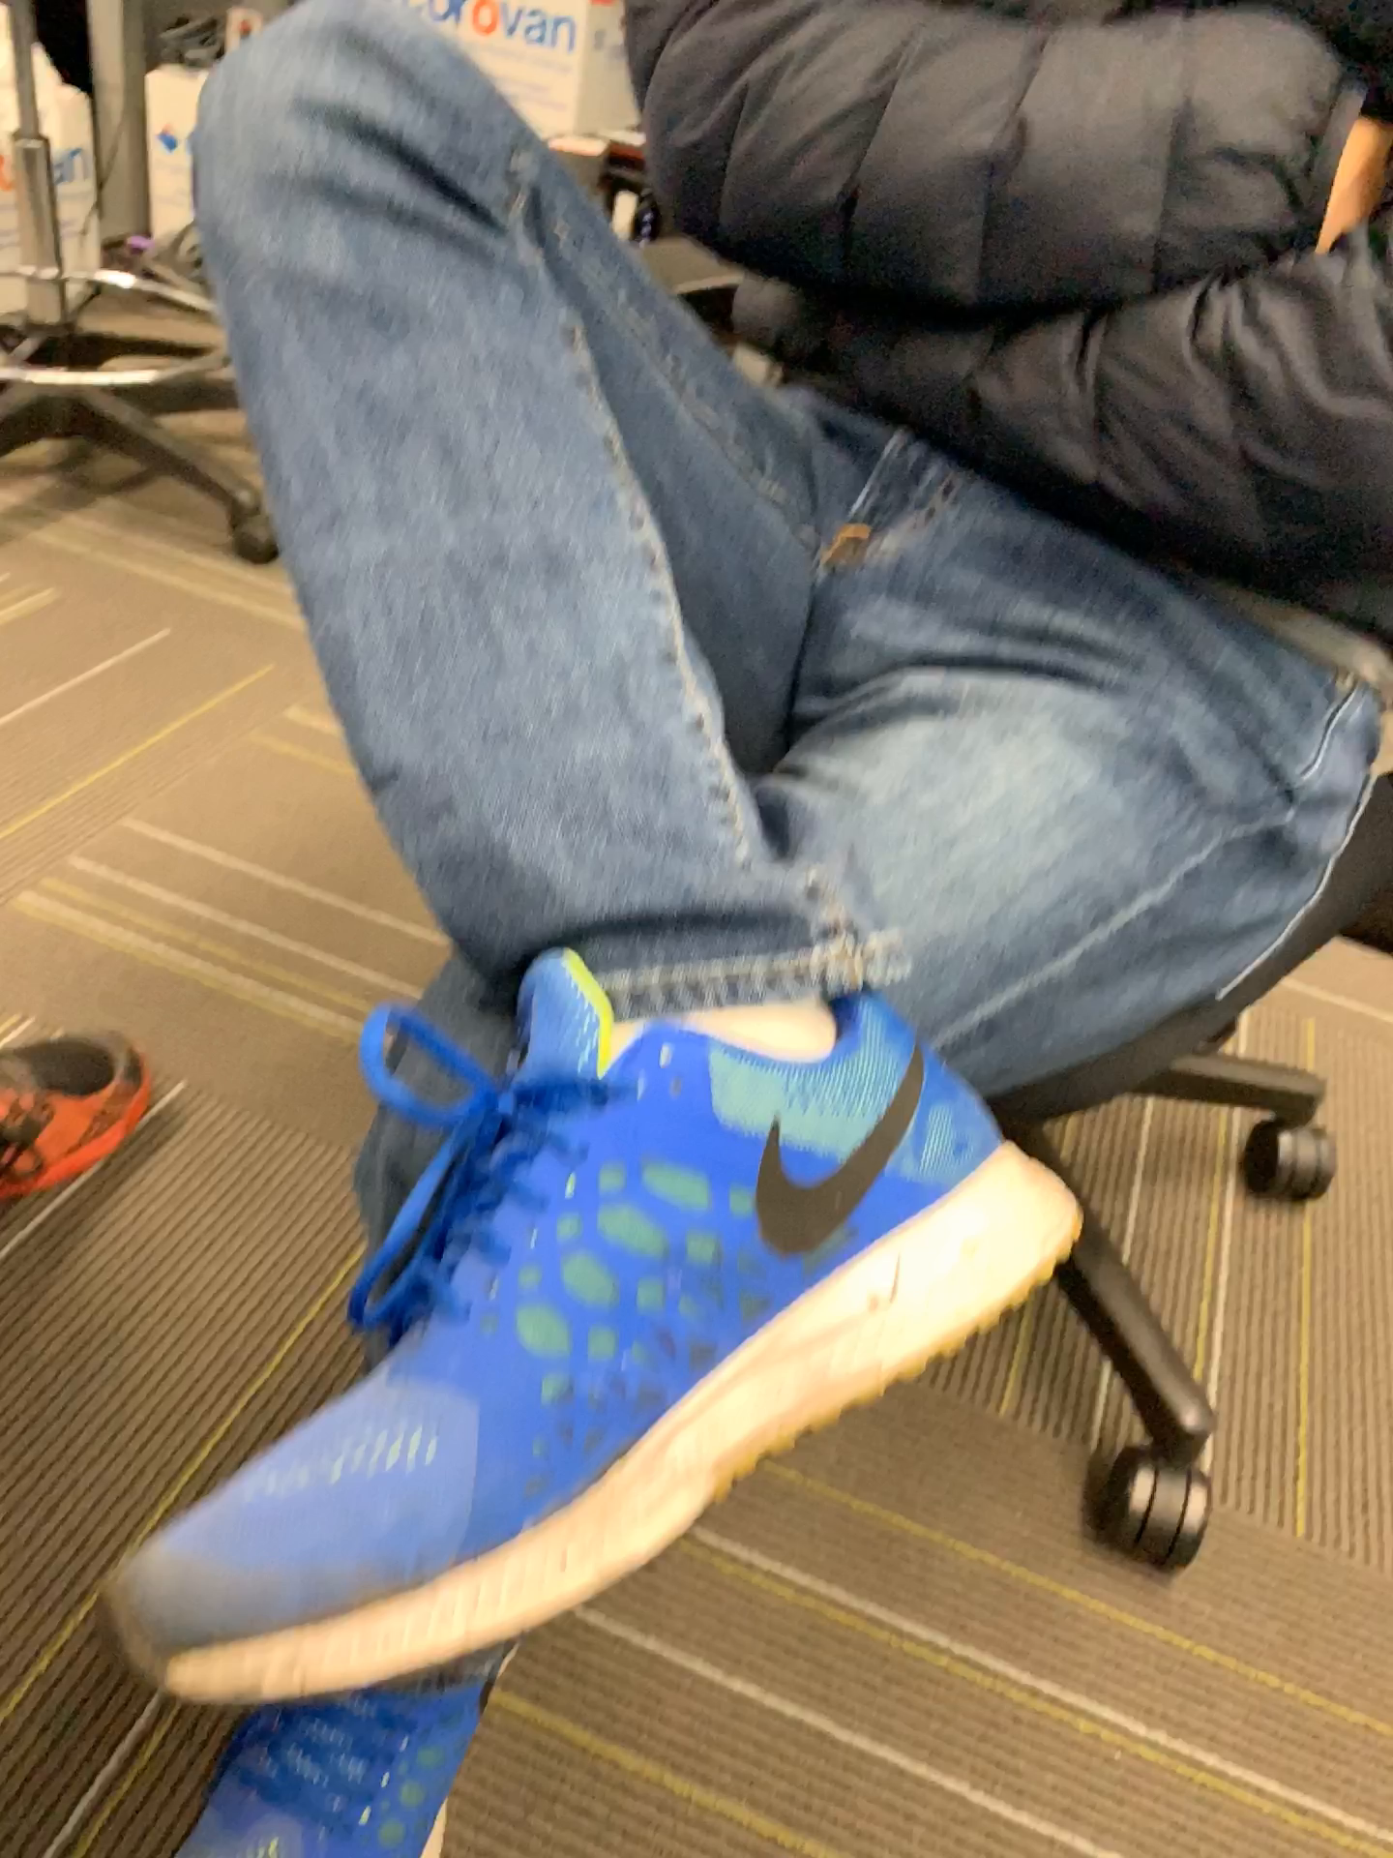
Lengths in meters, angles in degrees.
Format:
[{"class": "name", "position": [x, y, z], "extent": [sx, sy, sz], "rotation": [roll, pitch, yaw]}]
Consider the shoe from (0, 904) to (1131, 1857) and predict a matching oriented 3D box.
[{"class": "shoe", "position": [-0.030, 0.105, 0.375], "extent": [0.276, 0.117, 0.103], "rotation": [-22, 72, -39]}]

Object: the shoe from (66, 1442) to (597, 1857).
[{"class": "shoe", "position": [-0.164, 0.411, 0.714], "extent": [0.101, 0.086, 0.285], "rotation": [22, 36, 14]}]
